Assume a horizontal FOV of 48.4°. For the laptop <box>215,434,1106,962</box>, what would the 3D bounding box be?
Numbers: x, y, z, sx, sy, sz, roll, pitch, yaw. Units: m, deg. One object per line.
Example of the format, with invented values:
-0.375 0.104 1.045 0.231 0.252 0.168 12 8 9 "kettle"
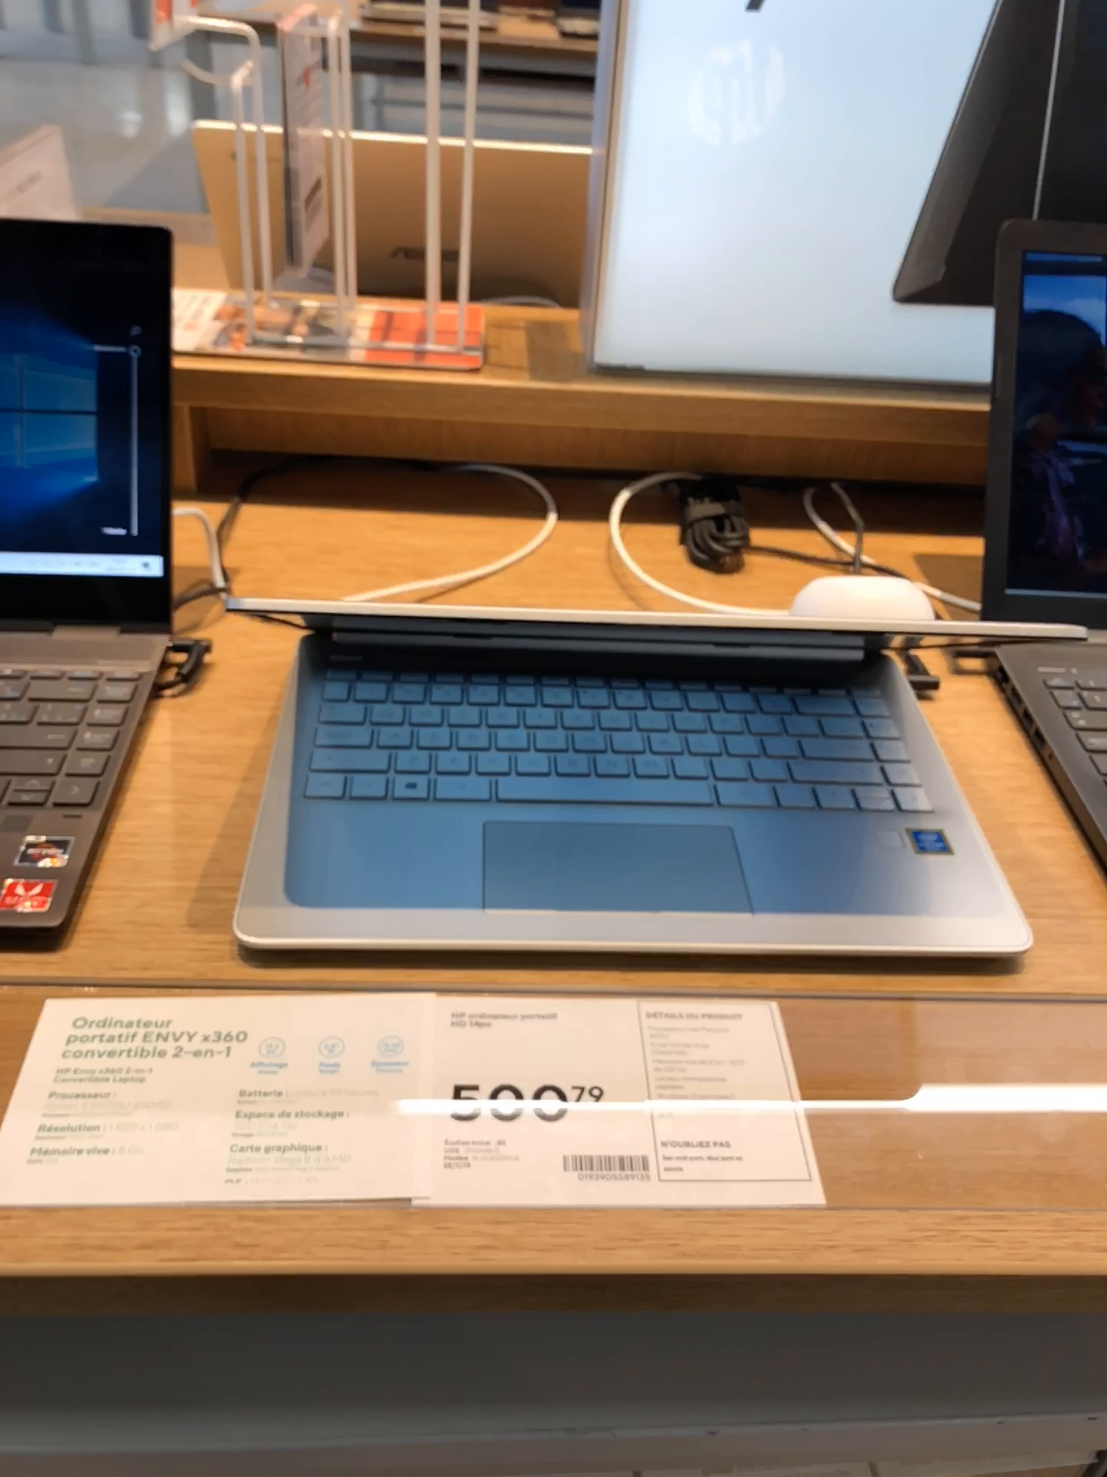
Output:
0.036 -0.027 0.535 0.314 0.110 0.217 1 38 -4 "laptop"
